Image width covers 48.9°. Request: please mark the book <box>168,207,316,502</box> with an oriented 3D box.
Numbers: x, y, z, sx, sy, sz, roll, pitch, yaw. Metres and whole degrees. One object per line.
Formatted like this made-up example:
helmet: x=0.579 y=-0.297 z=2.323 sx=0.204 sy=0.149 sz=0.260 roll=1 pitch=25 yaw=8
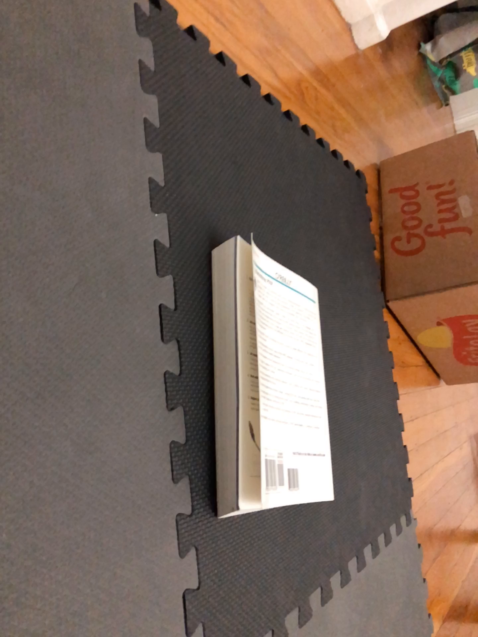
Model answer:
book: x=0.014 y=0.054 z=0.608 sx=0.231 sy=0.040 sz=0.290 roll=24 pitch=60 yaw=-53
